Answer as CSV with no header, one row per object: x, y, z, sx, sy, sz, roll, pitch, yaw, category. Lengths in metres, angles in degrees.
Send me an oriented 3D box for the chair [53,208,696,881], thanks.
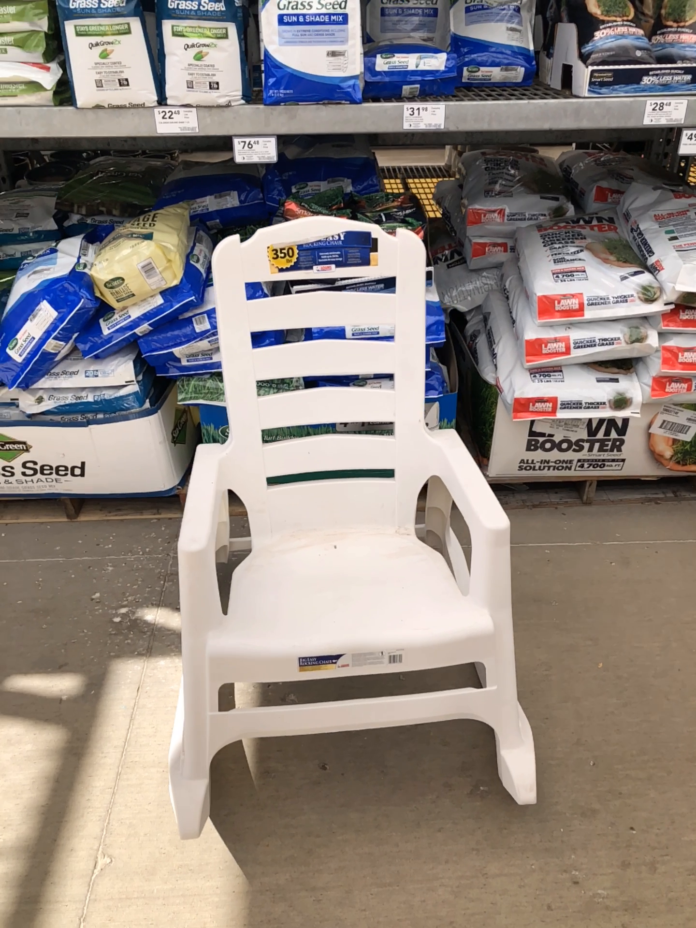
0.017,0.056,1.605,0.844,0.927,1.036,-3,30,-6,chair
